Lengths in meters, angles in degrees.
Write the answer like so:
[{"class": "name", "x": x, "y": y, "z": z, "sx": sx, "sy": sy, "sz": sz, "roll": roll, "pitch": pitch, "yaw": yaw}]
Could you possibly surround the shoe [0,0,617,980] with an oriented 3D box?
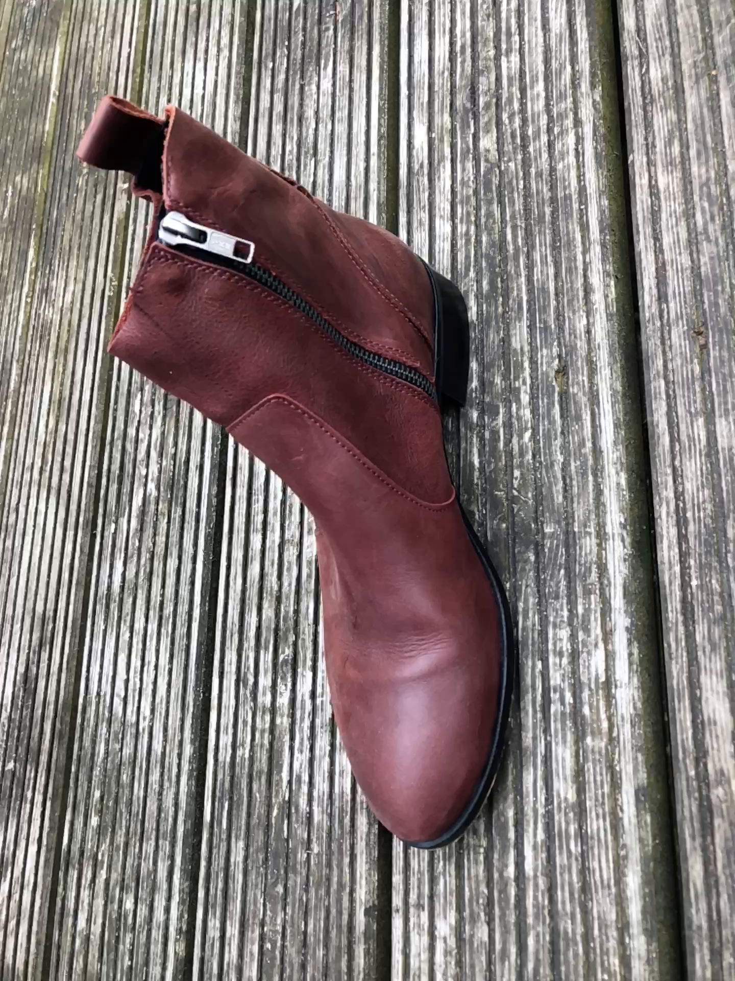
[{"class": "shoe", "x": 0.006, "y": -0.009, "z": 0.340, "sx": 0.090, "sy": 0.239, "sz": 0.340, "roll": -10, "pitch": 72, "yaw": 38}]
